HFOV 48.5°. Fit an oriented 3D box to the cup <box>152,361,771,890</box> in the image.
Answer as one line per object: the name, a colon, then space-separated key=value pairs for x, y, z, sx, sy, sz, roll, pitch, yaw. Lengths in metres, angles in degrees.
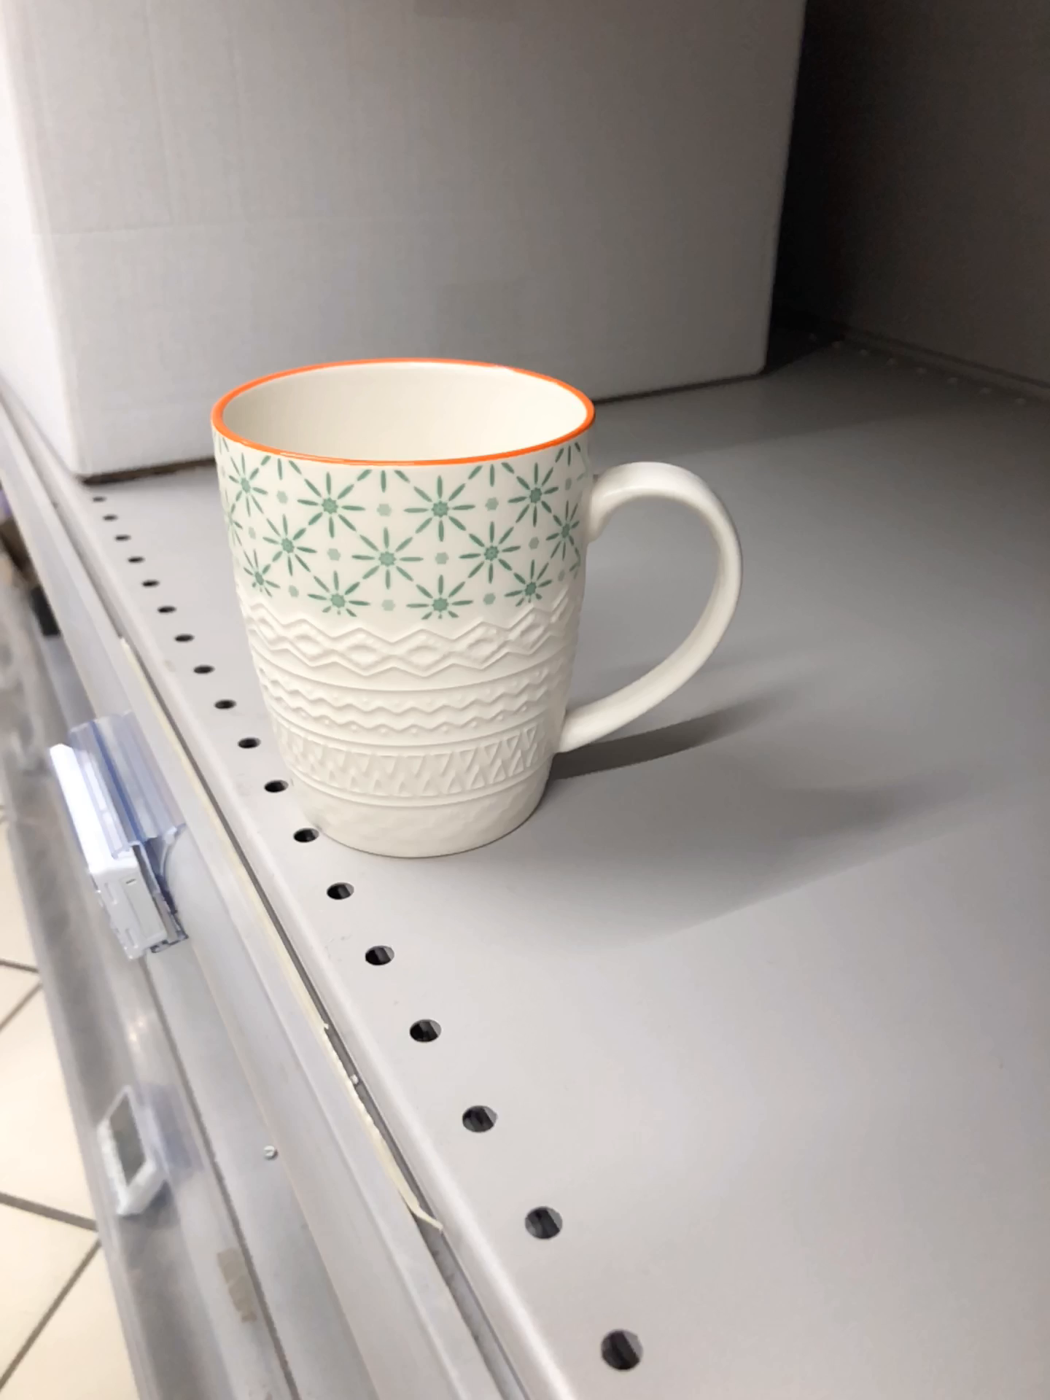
cup: x=-0.010 y=-0.023 z=0.283 sx=0.117 sy=0.100 sz=0.093 roll=0 pitch=25 yaw=2
